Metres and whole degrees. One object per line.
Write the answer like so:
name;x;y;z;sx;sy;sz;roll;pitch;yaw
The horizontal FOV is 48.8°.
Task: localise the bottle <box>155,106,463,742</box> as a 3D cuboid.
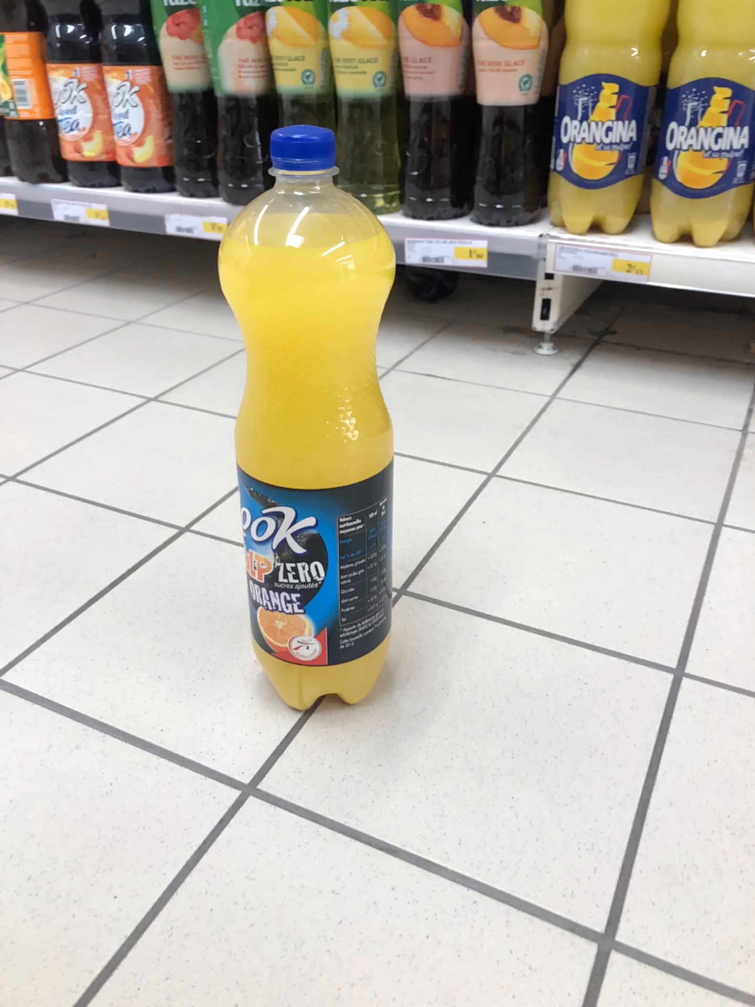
bottle;-0.031;-0.037;0.459;0.101;0.318;0.100;0;30;0
